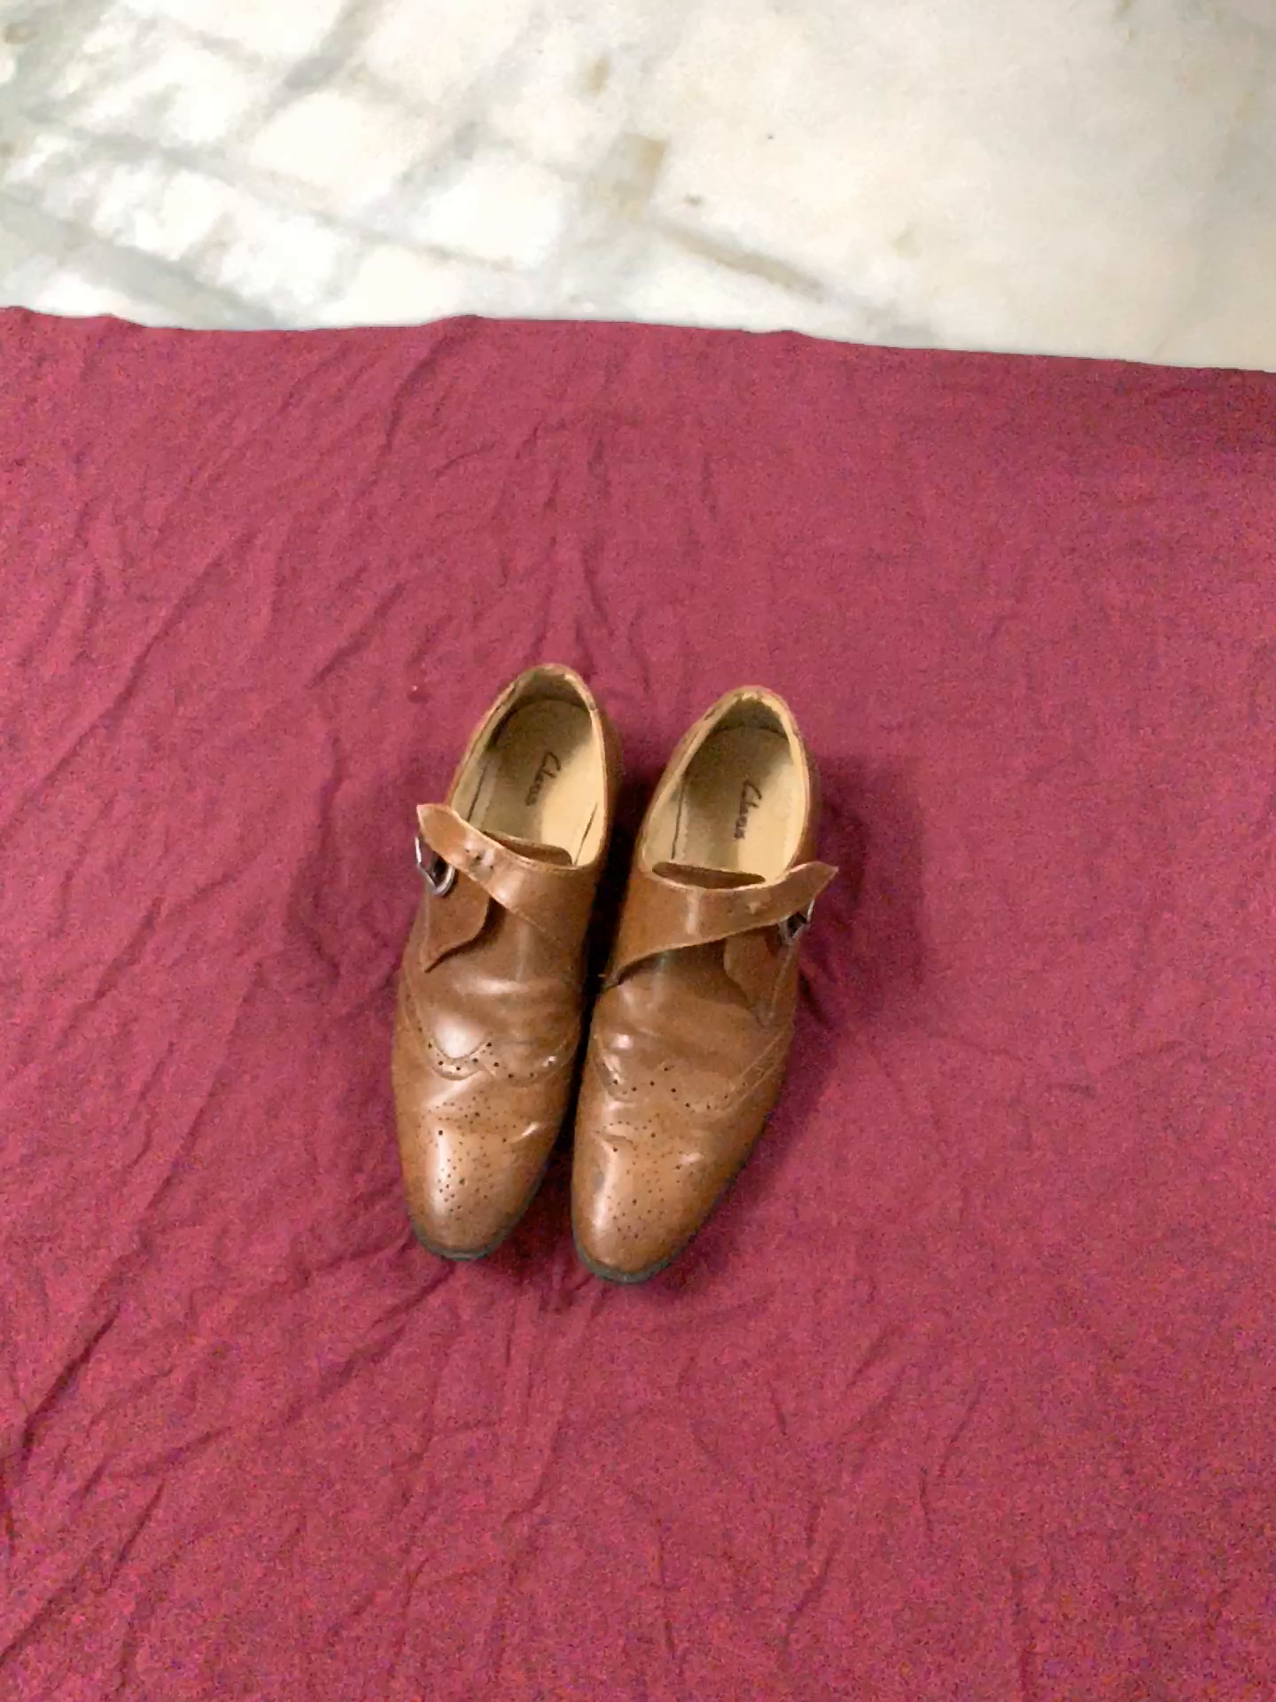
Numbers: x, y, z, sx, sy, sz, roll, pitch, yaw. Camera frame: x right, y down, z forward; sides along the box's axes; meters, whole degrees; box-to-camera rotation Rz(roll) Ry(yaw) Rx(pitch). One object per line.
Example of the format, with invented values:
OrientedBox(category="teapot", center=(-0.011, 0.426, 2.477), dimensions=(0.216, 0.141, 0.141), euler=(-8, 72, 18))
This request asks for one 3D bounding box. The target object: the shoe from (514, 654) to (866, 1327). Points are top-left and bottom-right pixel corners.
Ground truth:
OrientedBox(category="shoe", center=(0.032, 0.064, 0.666), dimensions=(0.100, 0.090, 0.311), euler=(13, 67, 5))

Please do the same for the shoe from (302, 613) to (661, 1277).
OrientedBox(category="shoe", center=(-0.064, 0.041, 0.649), dimensions=(0.100, 0.090, 0.301), euler=(9, 67, 4))
